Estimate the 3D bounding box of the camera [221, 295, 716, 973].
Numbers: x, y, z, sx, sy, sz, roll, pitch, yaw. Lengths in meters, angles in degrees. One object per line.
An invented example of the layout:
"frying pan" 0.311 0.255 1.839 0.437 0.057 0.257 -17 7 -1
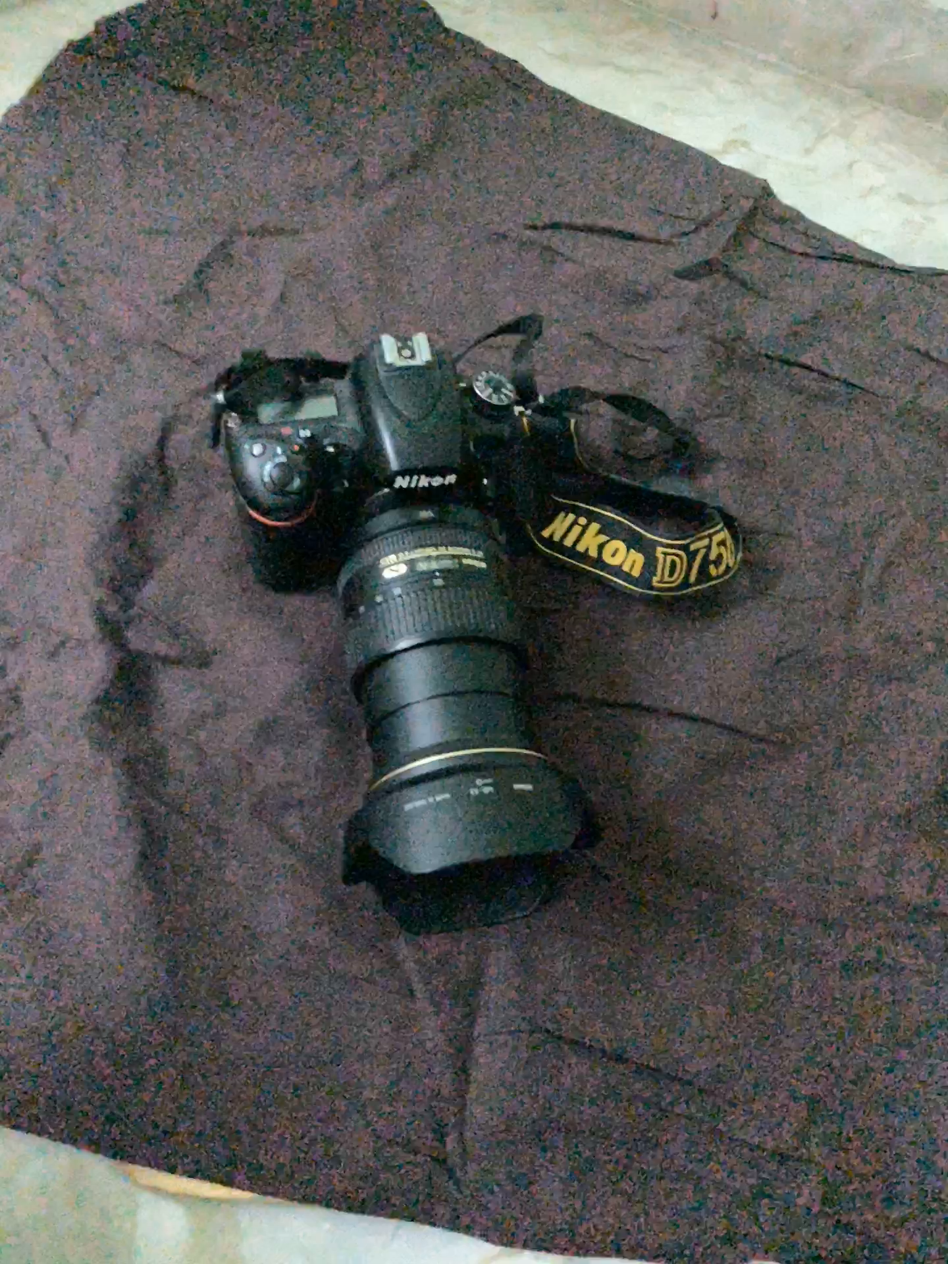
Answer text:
"camera" -0.021 -0.010 0.436 0.161 0.100 0.279 -5 64 -11
